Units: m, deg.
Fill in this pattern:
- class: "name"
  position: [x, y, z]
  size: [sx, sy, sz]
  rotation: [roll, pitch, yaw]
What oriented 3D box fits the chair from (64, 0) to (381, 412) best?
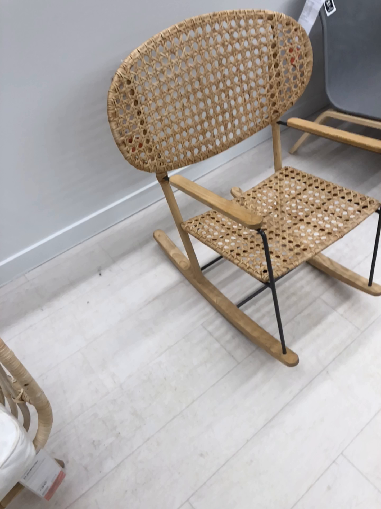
- class: "chair"
  position: [0.248, -0.220, 1.377]
  size: [0.831, 0.787, 0.852]
  rotation: [-30, 56, -23]
